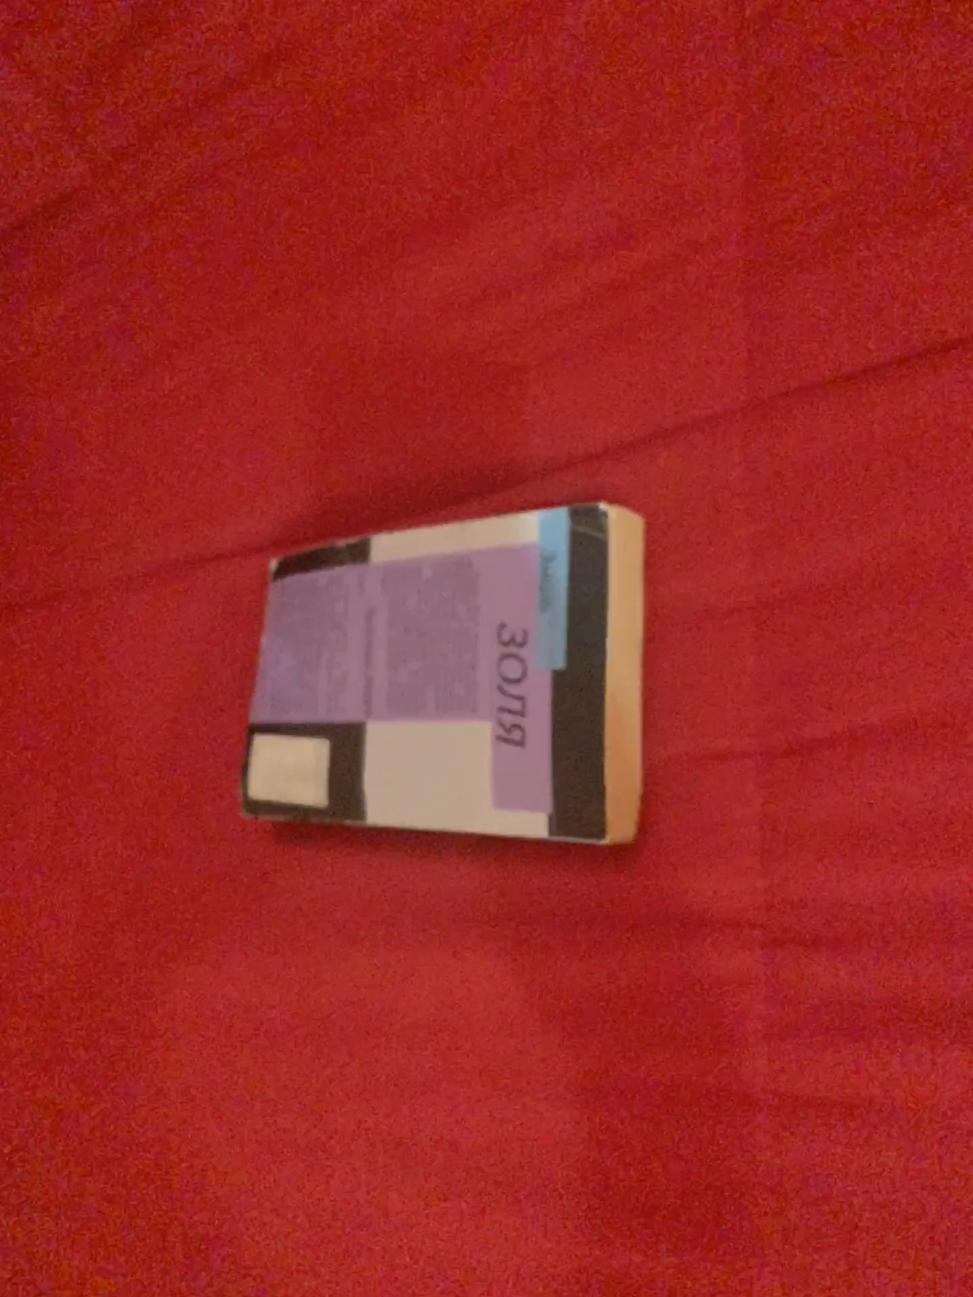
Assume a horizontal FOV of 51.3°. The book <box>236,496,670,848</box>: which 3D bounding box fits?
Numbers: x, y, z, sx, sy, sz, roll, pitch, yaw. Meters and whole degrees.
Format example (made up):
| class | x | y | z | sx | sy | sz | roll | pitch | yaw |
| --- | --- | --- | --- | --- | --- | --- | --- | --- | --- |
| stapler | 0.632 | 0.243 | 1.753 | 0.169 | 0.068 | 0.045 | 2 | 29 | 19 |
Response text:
| class | x | y | z | sx | sy | sz | roll | pitch | yaw |
| --- | --- | --- | --- | --- | --- | --- | --- | --- | --- |
| book | -0.019 | 0.012 | 0.375 | 0.171 | 0.033 | 0.109 | -3 | 80 | 37 |
